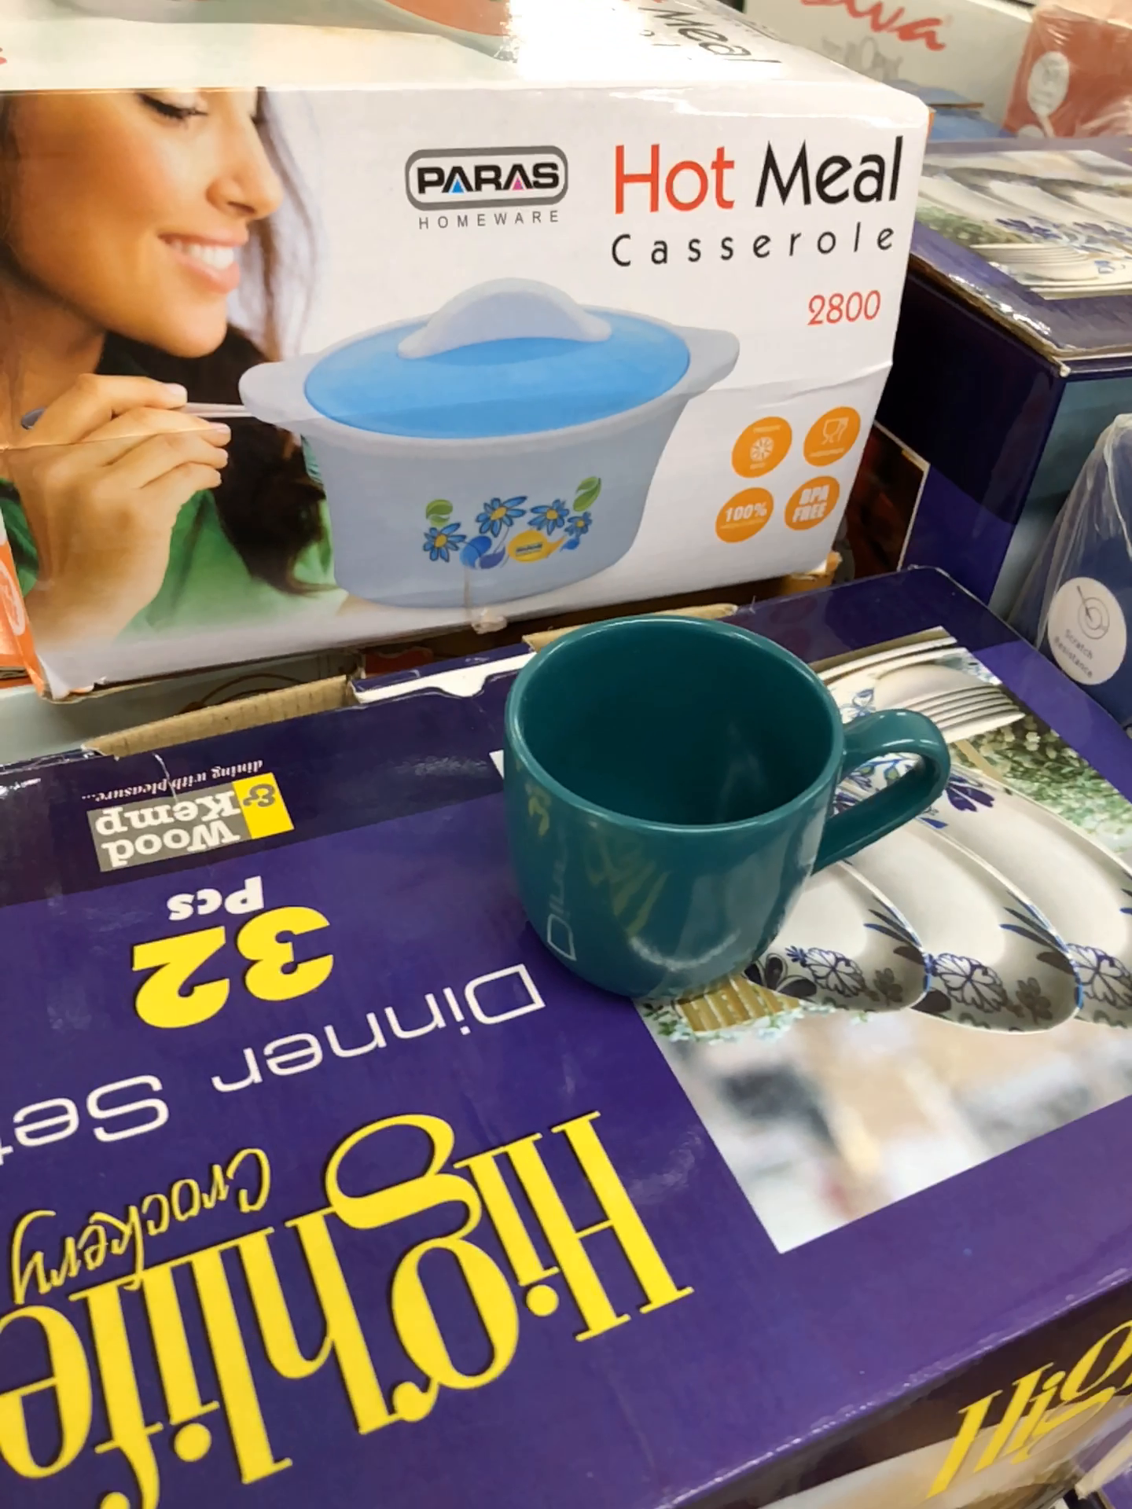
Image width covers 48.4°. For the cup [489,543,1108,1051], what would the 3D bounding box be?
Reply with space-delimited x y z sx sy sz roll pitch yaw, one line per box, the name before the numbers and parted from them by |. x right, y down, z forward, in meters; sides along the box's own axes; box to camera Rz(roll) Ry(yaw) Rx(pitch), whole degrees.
cup | 0.039 0.004 0.239 0.090 0.050 0.060 -14 45 -21
